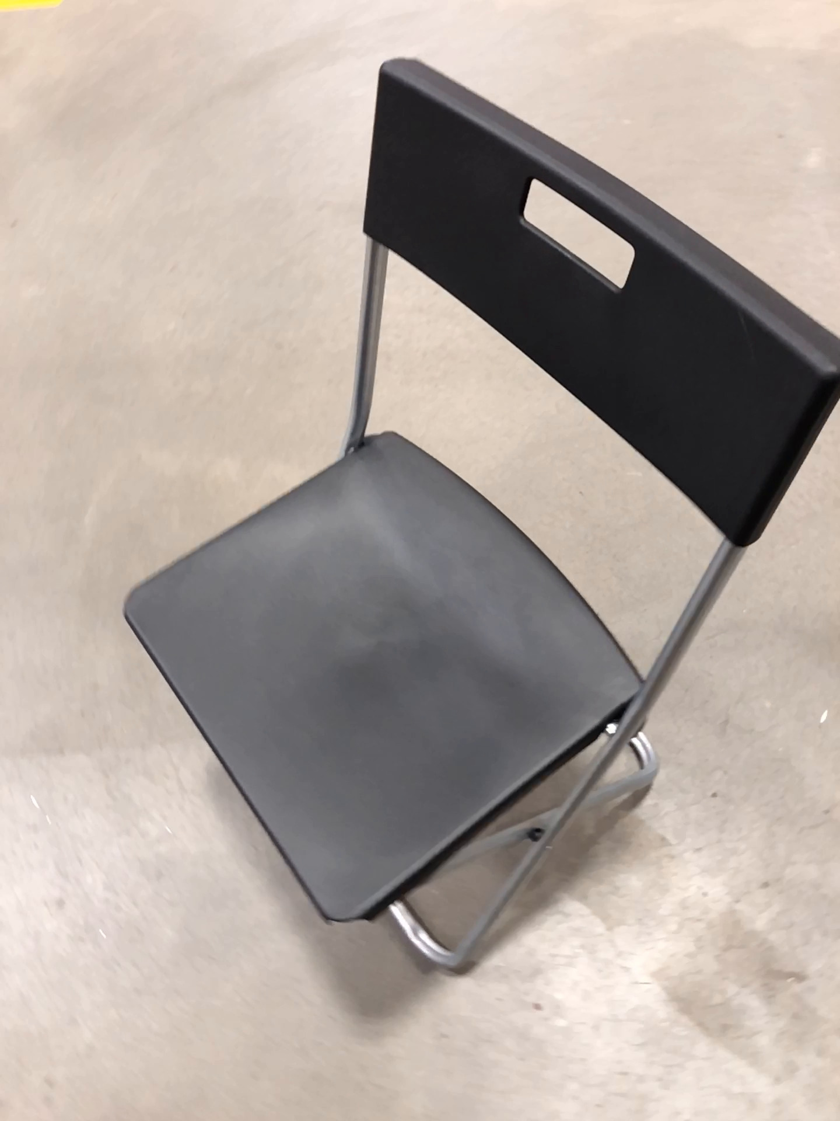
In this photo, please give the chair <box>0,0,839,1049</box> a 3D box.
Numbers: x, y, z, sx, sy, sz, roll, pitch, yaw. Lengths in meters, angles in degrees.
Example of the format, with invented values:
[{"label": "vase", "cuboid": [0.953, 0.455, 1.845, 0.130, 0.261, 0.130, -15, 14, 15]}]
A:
[{"label": "chair", "cuboid": [-0.002, 0.057, 0.830, 0.460, 0.759, 0.461, -37, 62, -13]}]
